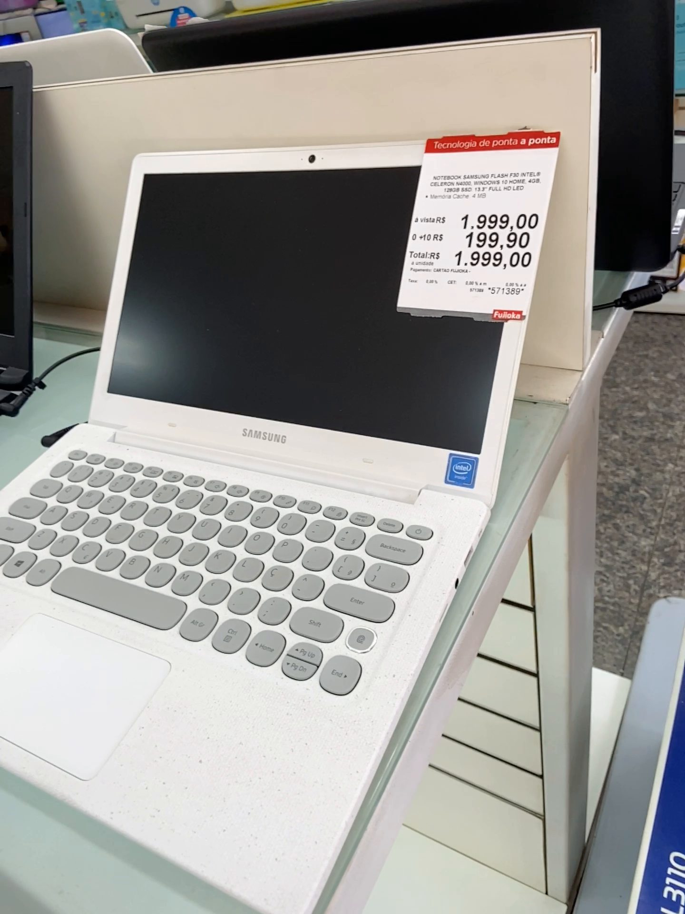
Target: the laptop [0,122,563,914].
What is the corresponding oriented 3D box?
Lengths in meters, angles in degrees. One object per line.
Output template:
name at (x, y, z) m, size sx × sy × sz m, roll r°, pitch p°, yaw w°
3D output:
laptop at (-0.085, -0.033, 0.385) m, size 0.314 × 0.140 × 0.361 m, roll 10°, pitch 46°, yaw 28°
